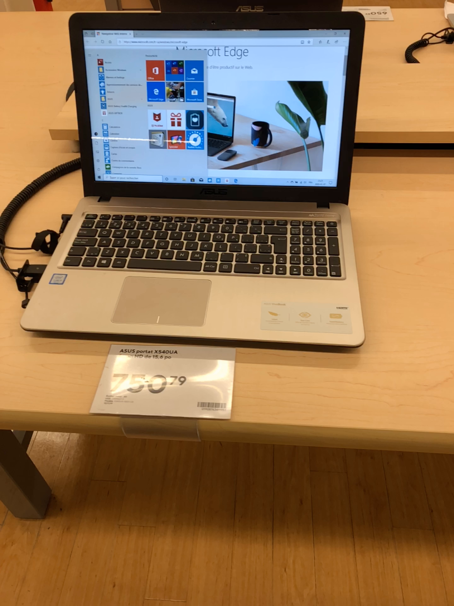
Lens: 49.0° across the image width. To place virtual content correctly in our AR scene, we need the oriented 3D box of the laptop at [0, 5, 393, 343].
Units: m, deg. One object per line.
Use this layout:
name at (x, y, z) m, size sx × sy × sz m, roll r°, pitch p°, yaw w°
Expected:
laptop at (-0.038, -0.176, 0.612) m, size 0.383 × 0.215 × 0.361 m, roll 2°, pitch 49°, yaw 4°
